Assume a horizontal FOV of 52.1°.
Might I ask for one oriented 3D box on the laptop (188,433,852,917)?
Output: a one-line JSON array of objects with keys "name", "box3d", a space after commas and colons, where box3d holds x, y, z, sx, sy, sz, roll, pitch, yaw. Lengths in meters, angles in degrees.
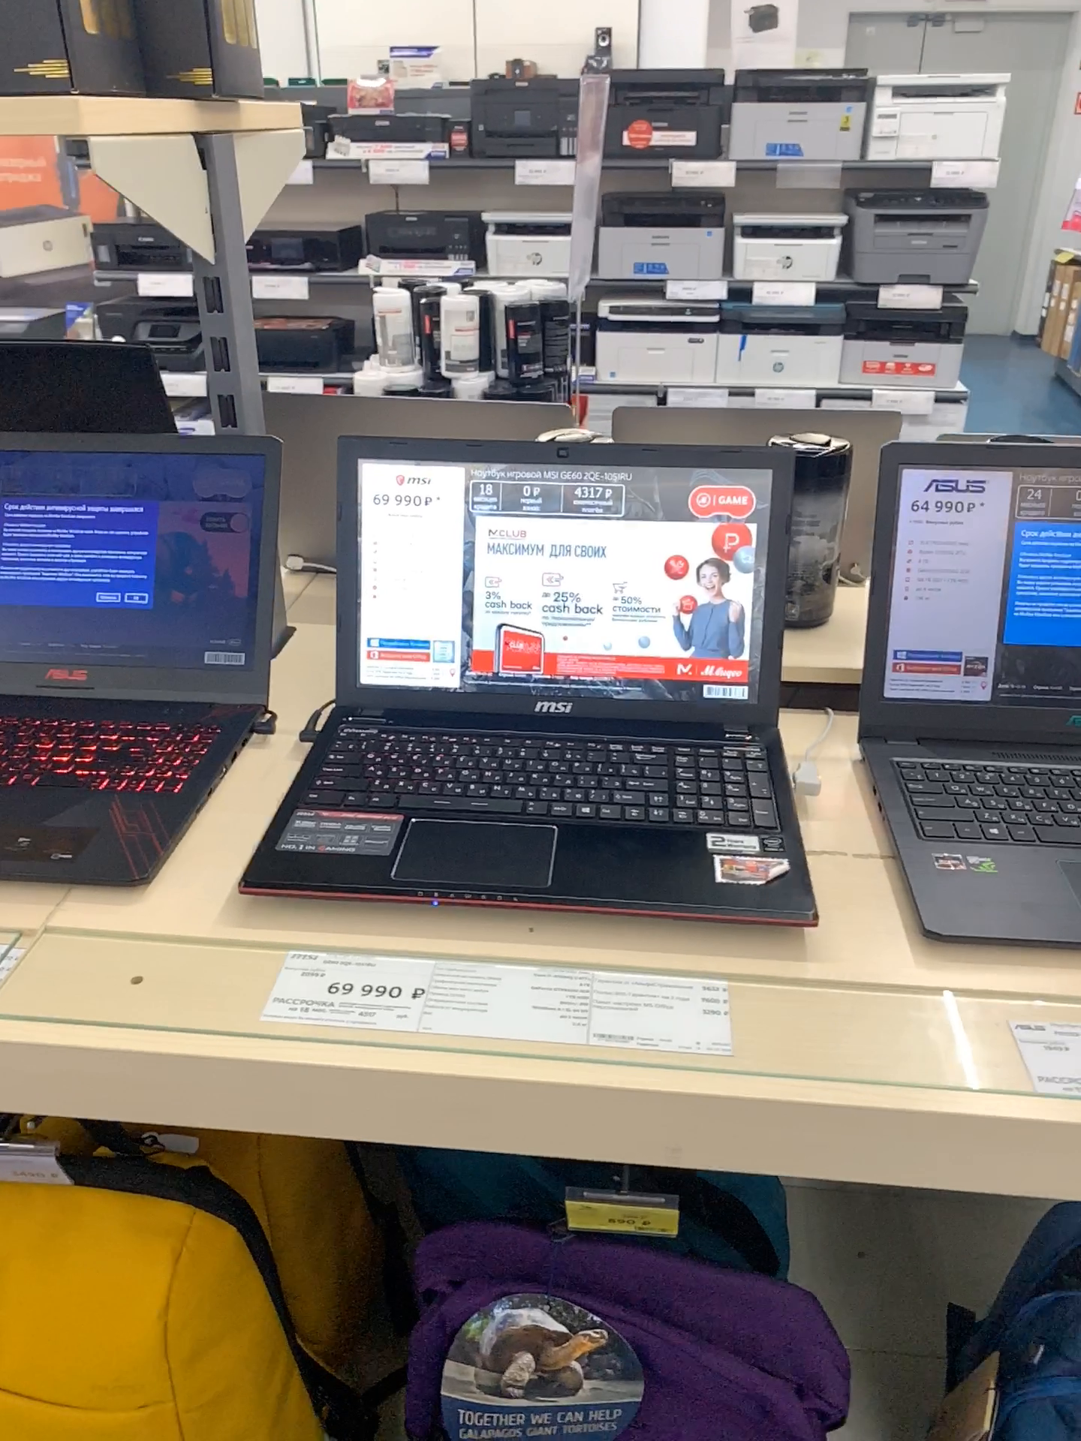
[{"name": "laptop", "box3d": [-0.002, -0.055, 0.770, 0.355, 0.197, 0.314, 3, 29, 4]}]
